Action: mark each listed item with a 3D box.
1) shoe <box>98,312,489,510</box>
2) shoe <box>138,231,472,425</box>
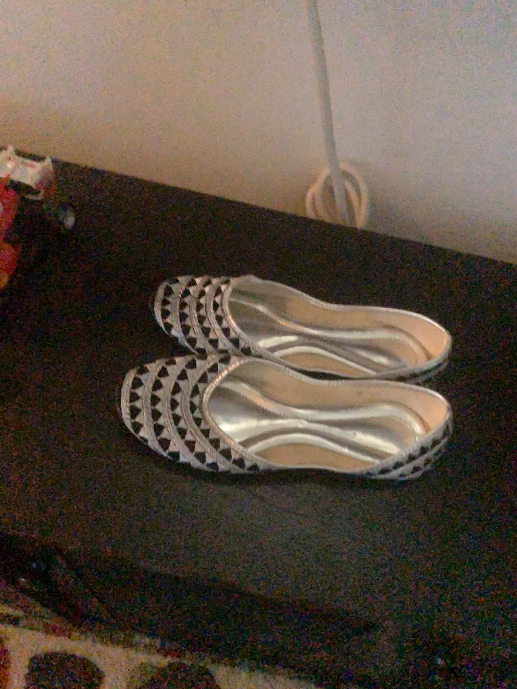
[{"bbox_3d":[0.024,0.054,0.410,0.260,0.079,0.101,6,54,-4],"label":"shoe"},{"bbox_3d":[0.040,-0.014,0.482,0.270,0.079,0.101,11,54,-1],"label":"shoe"}]
